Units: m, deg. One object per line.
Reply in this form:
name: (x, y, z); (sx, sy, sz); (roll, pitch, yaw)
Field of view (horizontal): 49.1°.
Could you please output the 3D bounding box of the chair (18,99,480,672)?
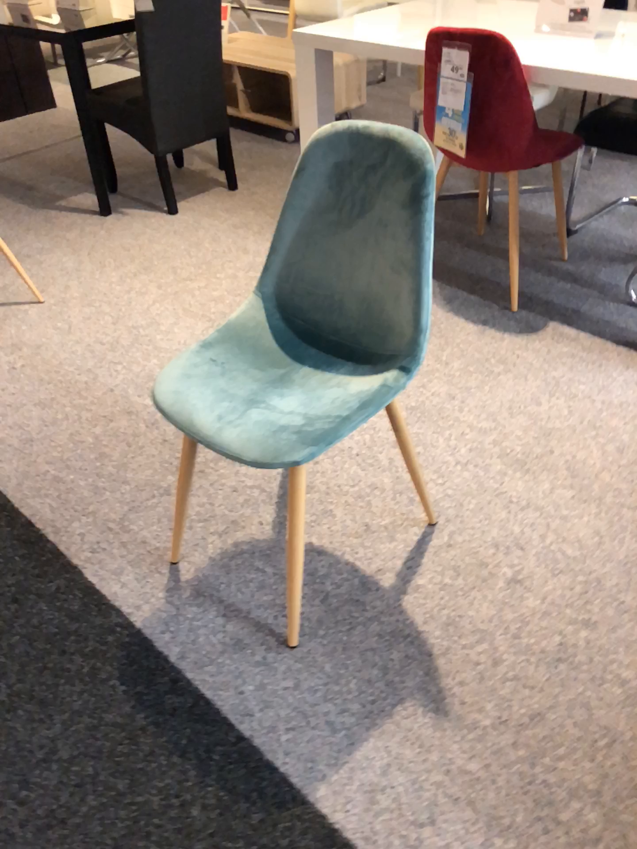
chair: (-0.075, -0.090, 1.340); (0.470, 0.835, 0.553); (25, 46, 32)
